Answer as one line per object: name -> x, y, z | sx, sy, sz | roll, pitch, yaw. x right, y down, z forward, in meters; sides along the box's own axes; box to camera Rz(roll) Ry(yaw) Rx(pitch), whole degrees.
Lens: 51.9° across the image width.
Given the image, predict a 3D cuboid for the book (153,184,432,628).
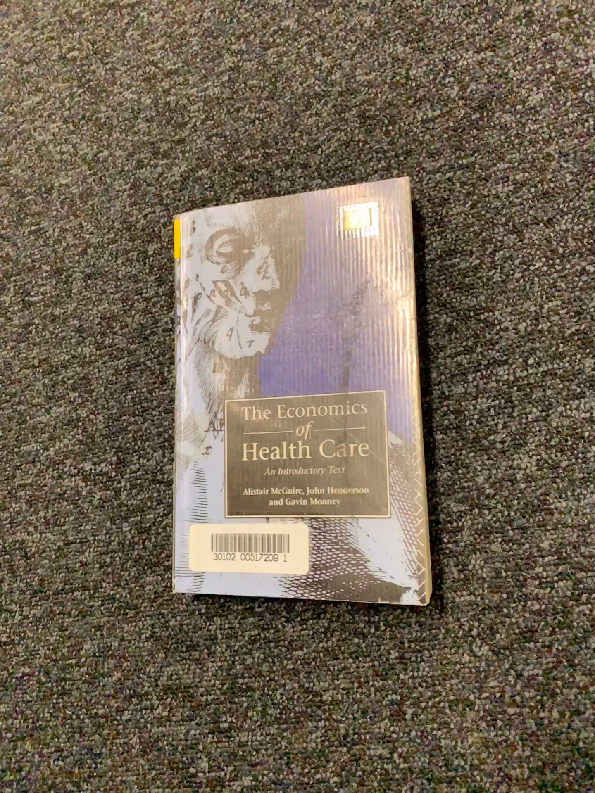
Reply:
book -> -0.005, 0.005, 0.317 | 0.135, 0.030, 0.207 | -3, 81, 18
